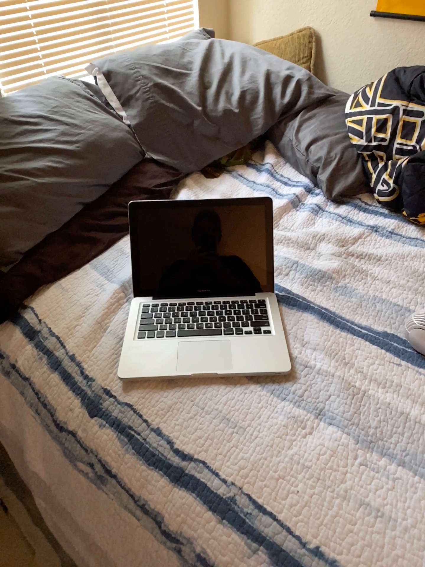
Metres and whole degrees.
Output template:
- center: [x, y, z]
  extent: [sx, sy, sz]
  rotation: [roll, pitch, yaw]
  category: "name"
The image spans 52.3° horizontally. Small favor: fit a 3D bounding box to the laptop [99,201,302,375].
- center: [-0.022, -0.007, 0.874]
  extent: [0.319, 0.169, 0.348]
  rotation: [-2, 38, 1]
  category: "laptop"
